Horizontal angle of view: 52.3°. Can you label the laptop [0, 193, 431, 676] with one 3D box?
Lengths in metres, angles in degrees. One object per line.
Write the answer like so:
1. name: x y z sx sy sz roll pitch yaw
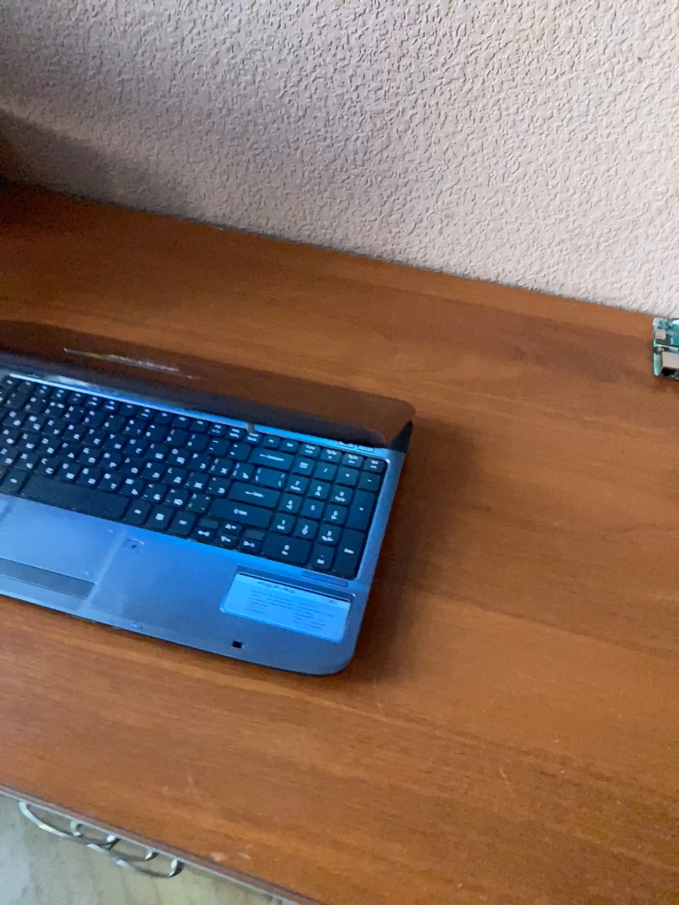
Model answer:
1. laptop: -0.151 -0.027 0.520 0.380 0.163 0.241 12 54 10
